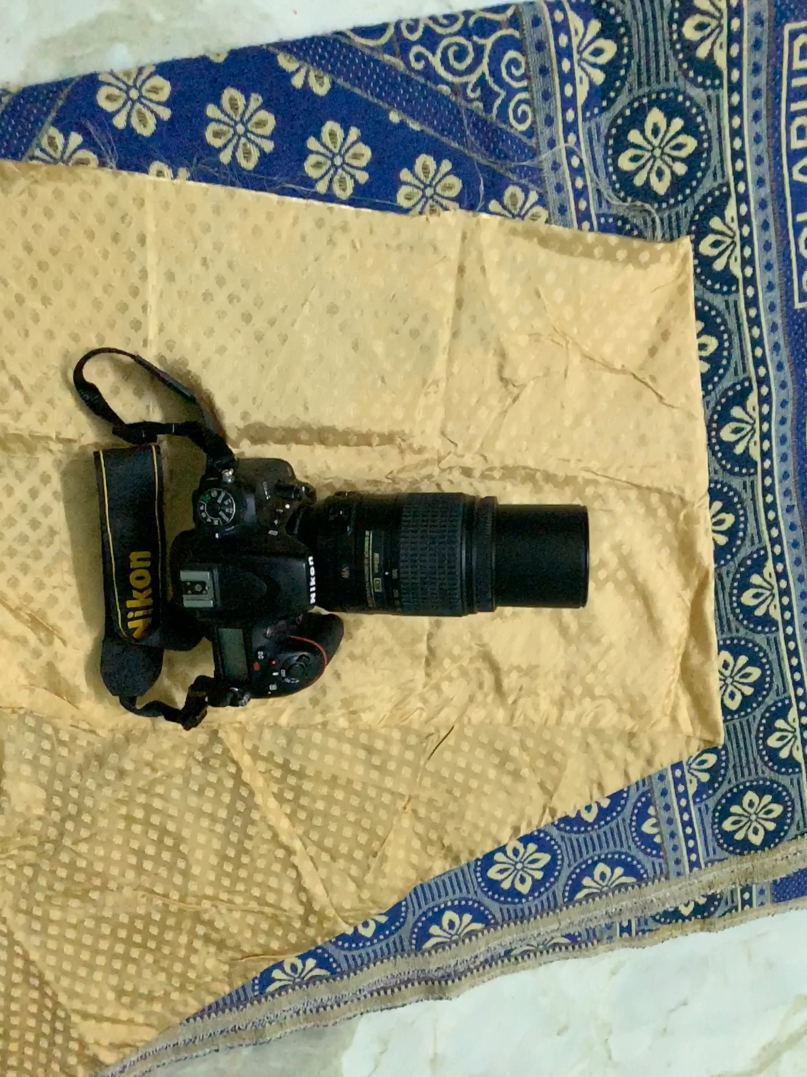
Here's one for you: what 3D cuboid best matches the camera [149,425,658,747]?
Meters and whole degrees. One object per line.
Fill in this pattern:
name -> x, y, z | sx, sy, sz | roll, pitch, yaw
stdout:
camera -> 0.005, 0.016, 0.491 | 0.240, 0.180, 0.140 | 0, 105, 4
